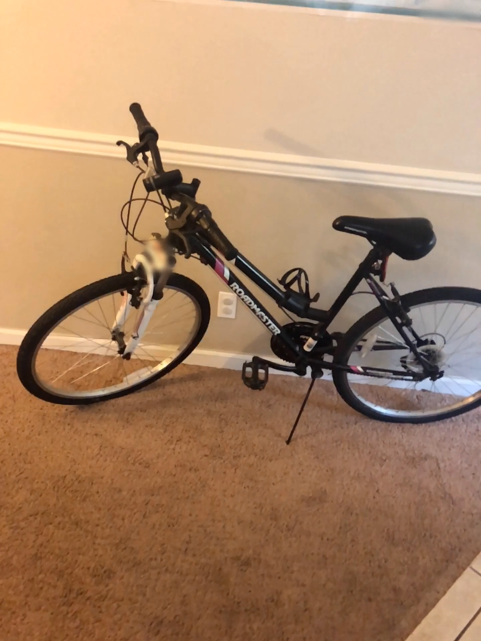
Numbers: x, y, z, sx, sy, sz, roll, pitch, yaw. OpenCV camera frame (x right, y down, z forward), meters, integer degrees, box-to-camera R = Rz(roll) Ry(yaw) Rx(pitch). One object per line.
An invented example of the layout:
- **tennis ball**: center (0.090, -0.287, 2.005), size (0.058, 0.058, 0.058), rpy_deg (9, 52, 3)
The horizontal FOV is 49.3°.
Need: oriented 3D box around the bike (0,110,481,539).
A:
- **bike**: center (0.185, 0.030, 1.767), size (1.864, 1.177, 0.683), rpy_deg (1, 31, -6)
